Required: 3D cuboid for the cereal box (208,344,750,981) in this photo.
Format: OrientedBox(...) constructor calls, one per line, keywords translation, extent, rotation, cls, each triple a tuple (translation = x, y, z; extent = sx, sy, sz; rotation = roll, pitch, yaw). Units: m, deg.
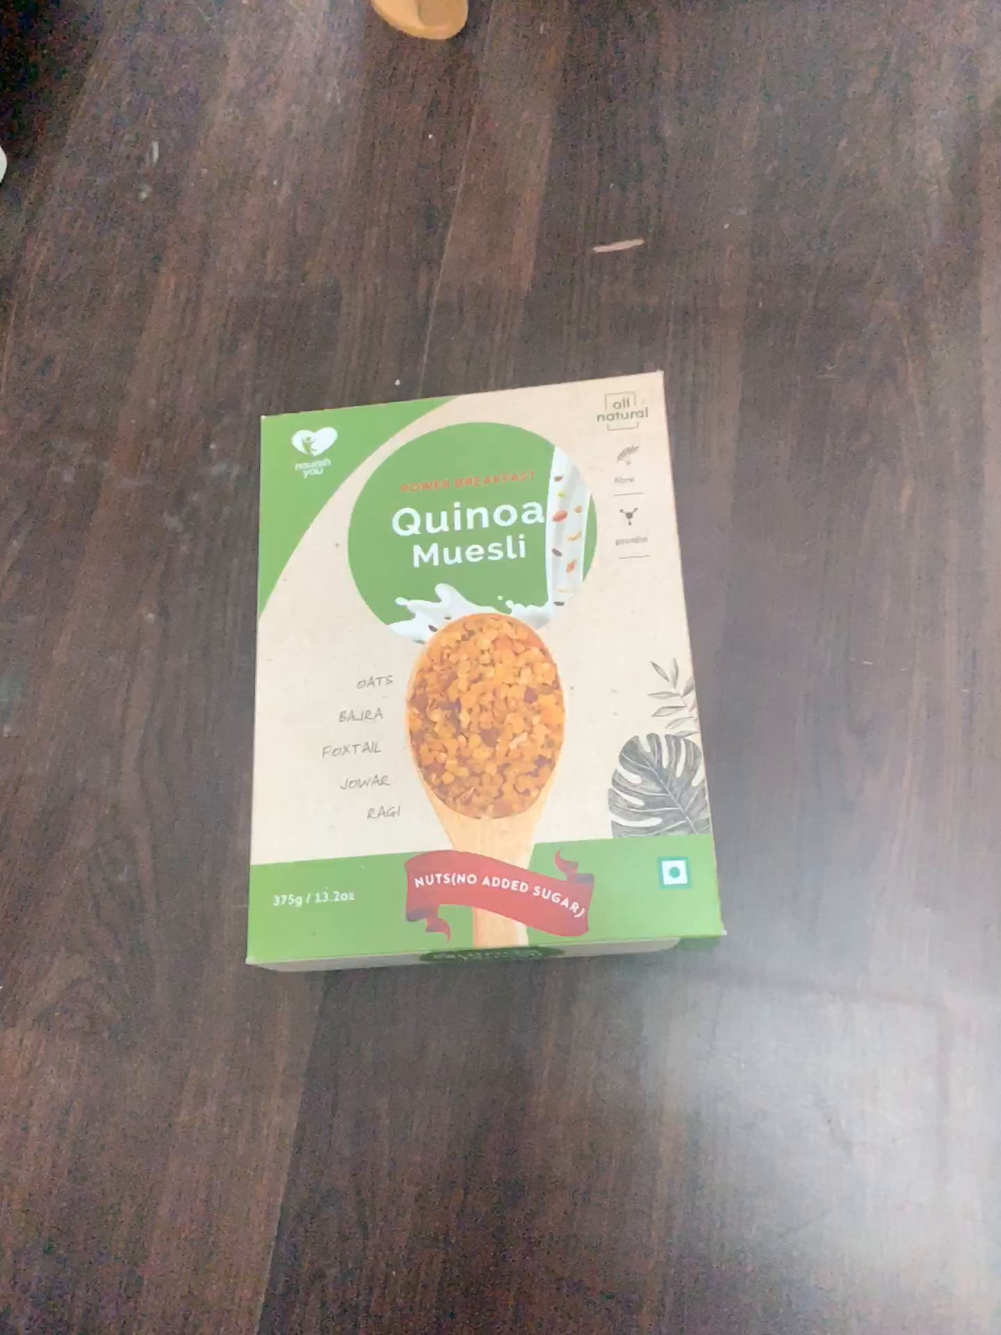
OrientedBox(translation=(-0.009, 0.002, 0.381), extent=(0.170, 0.070, 0.210), rotation=(-5, 73, 8), cls="cereal box")
